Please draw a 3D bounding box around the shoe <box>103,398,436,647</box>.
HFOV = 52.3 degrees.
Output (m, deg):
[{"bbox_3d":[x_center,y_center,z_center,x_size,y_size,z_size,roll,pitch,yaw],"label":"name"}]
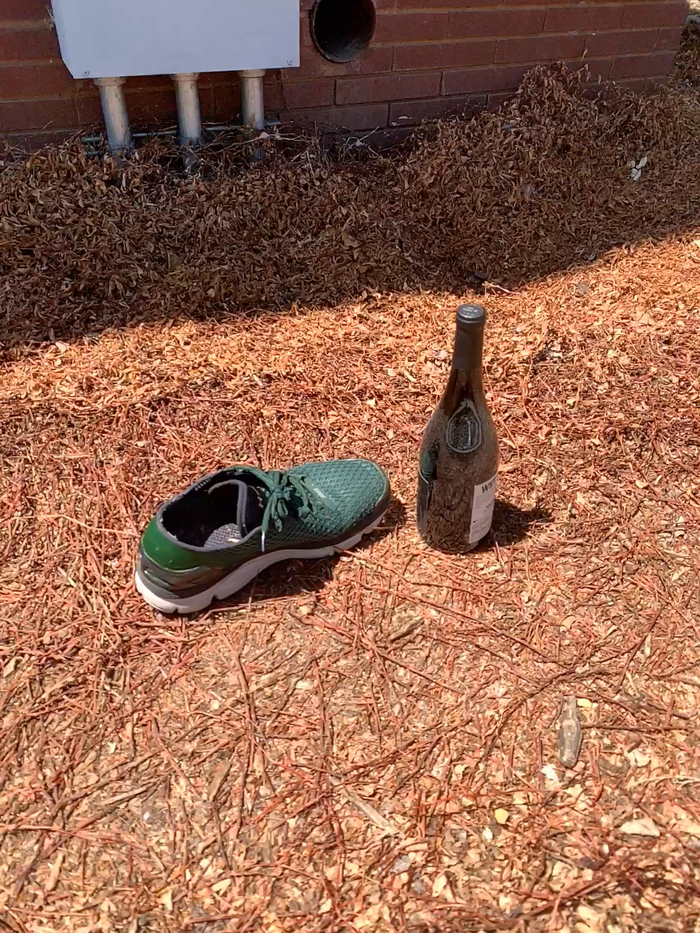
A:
[{"bbox_3d":[-0.078,0.047,0.771,0.320,0.099,0.131,-22,47,-26],"label":"shoe"}]
